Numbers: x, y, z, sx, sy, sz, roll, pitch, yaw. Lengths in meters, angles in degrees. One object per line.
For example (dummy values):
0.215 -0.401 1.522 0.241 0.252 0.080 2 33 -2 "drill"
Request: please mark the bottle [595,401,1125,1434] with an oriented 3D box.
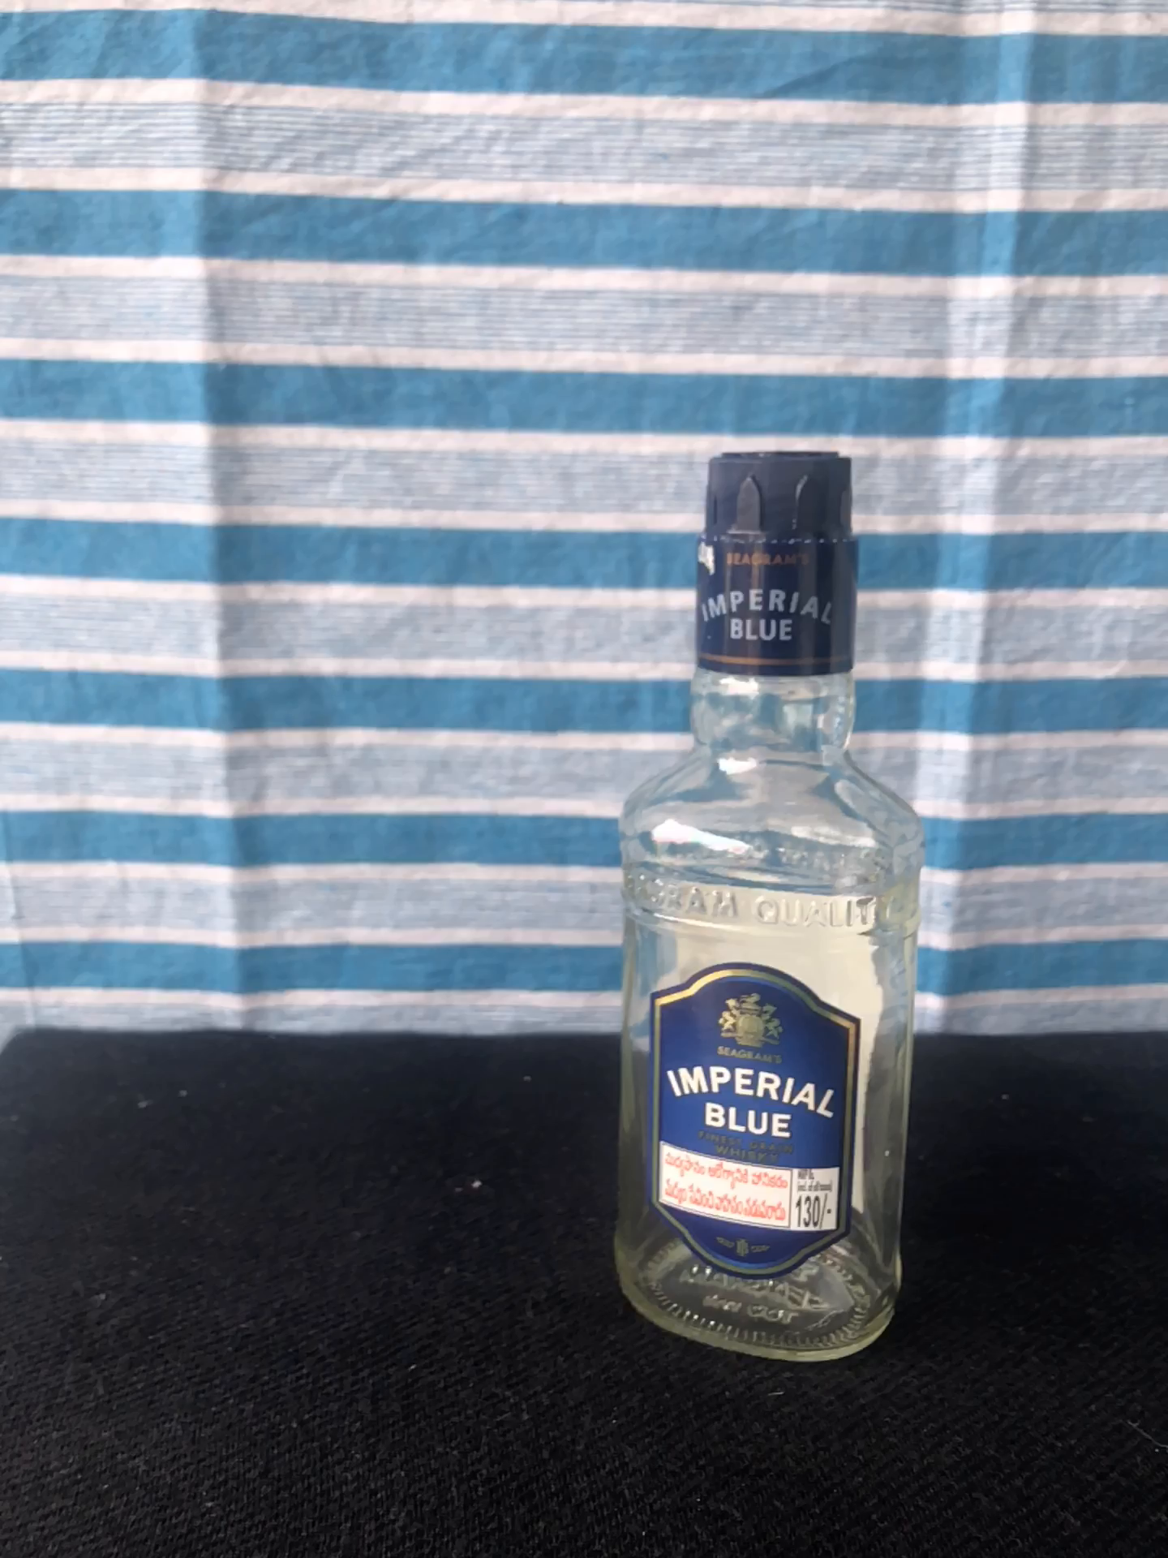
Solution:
0.047 0.021 0.239 0.070 0.169 0.050 7 16 17 "bottle"
